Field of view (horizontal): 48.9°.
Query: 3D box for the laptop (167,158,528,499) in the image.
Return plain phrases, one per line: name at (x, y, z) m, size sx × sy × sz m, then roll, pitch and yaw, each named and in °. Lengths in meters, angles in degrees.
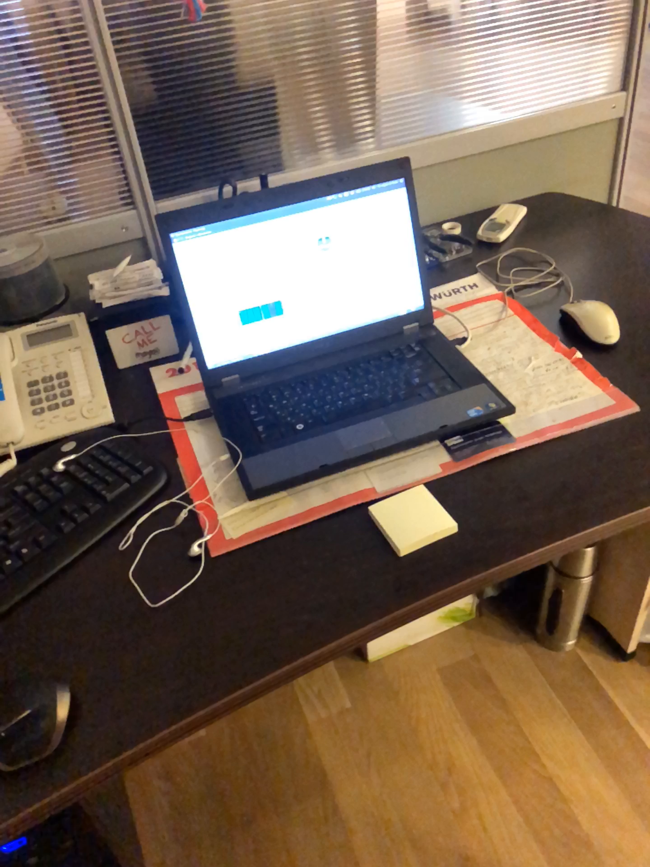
laptop at (0.018, -0.135, 0.817) m, size 0.317 × 0.209 × 0.257 m, roll -18°, pitch 41°, yaw -11°
